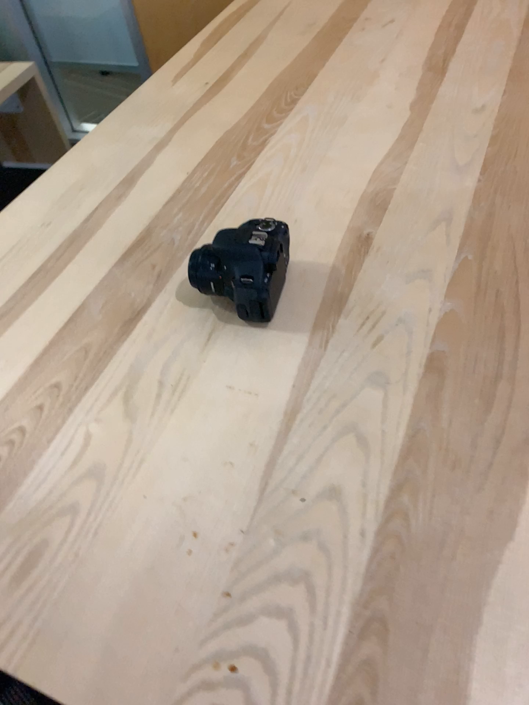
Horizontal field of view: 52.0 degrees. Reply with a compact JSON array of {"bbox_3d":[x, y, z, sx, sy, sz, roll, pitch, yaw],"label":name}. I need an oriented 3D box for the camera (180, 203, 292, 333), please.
[{"bbox_3d":[-0.033,-0.114,0.724,0.114,0.101,0.120,10,52,9],"label":"camera"}]
